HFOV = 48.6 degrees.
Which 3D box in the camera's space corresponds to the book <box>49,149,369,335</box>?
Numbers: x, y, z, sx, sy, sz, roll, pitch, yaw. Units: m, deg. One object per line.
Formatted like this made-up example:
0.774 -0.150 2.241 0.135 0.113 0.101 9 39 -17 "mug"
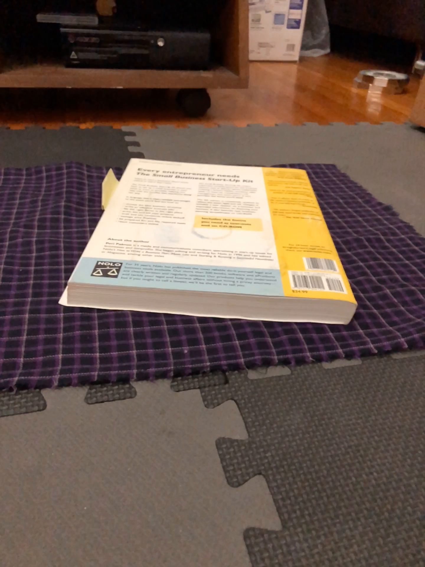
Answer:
0.002 -0.067 0.477 0.230 0.030 0.312 4 33 -1 "book"
